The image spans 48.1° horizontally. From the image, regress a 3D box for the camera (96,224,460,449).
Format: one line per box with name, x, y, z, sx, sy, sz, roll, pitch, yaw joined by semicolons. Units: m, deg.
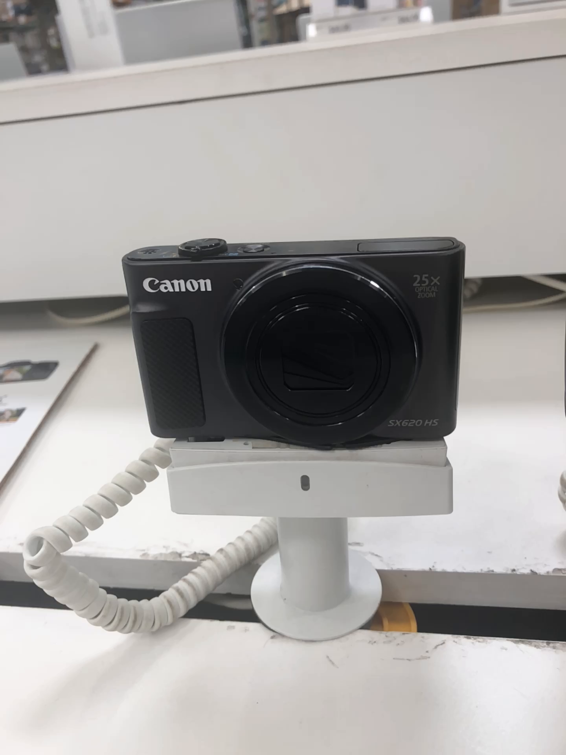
camera;0.001;-0.010;0.185;0.093;0.057;0.025;-1;28;9
